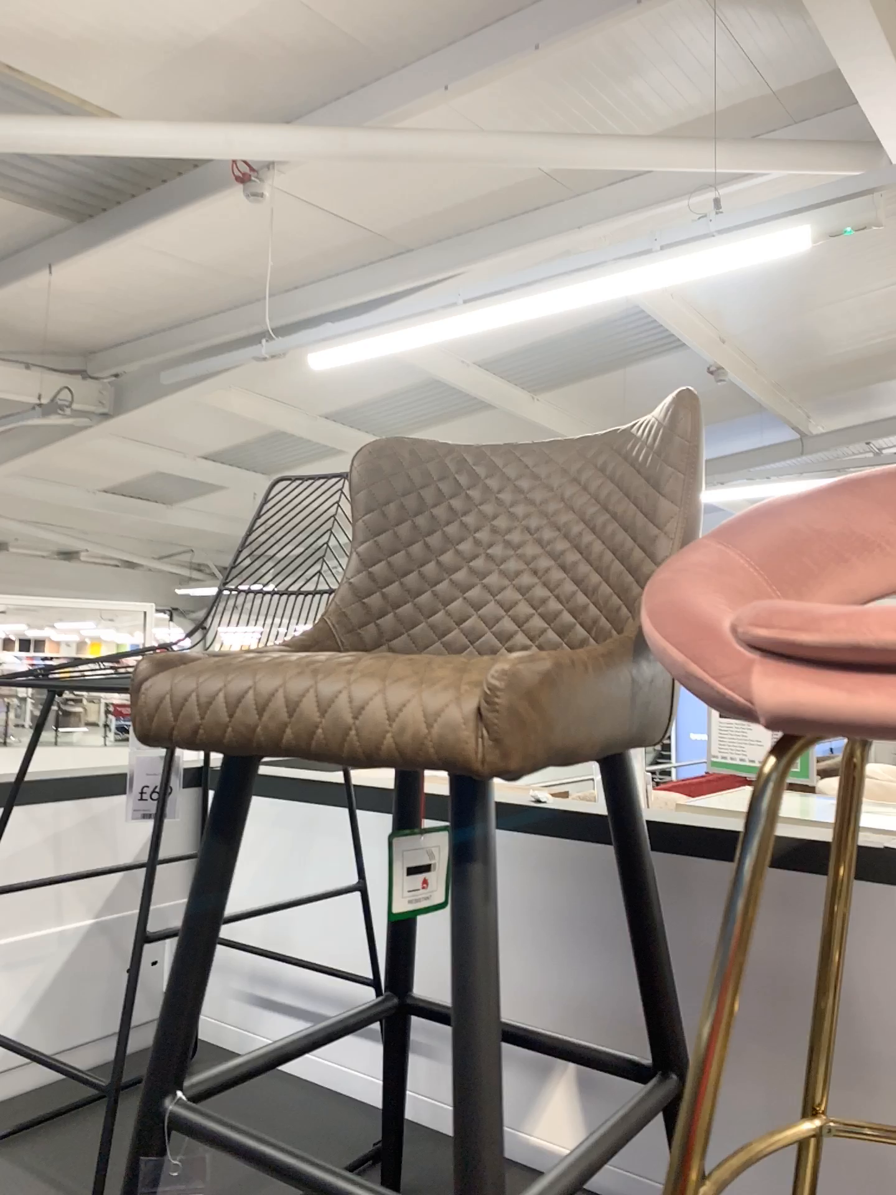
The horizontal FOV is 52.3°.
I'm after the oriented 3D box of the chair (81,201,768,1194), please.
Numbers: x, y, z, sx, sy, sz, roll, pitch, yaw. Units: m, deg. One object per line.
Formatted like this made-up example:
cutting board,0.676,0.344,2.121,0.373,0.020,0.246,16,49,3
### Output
chair,0.000,0.226,0.958,0.535,0.998,0.465,-2,-4,29
